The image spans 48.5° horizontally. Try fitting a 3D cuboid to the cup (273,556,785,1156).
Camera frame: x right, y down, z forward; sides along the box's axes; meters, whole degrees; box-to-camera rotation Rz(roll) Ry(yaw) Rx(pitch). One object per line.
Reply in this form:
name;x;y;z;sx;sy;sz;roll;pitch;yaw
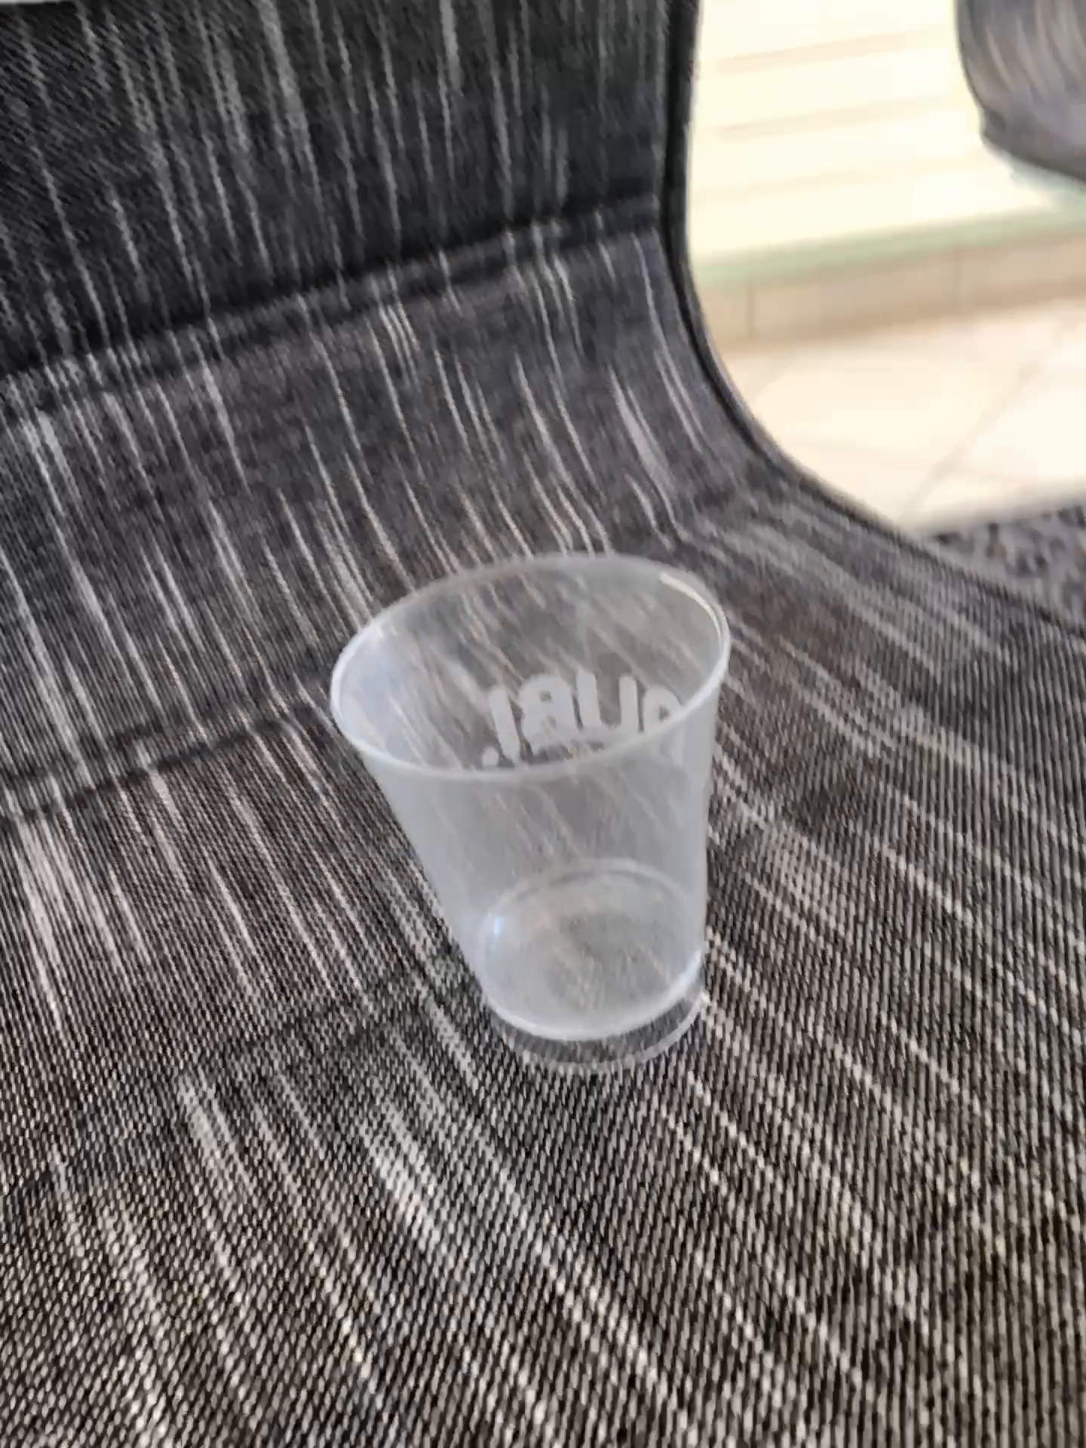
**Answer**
cup;0.007;0.026;0.273;0.080;0.099;0.081;-7;35;5
